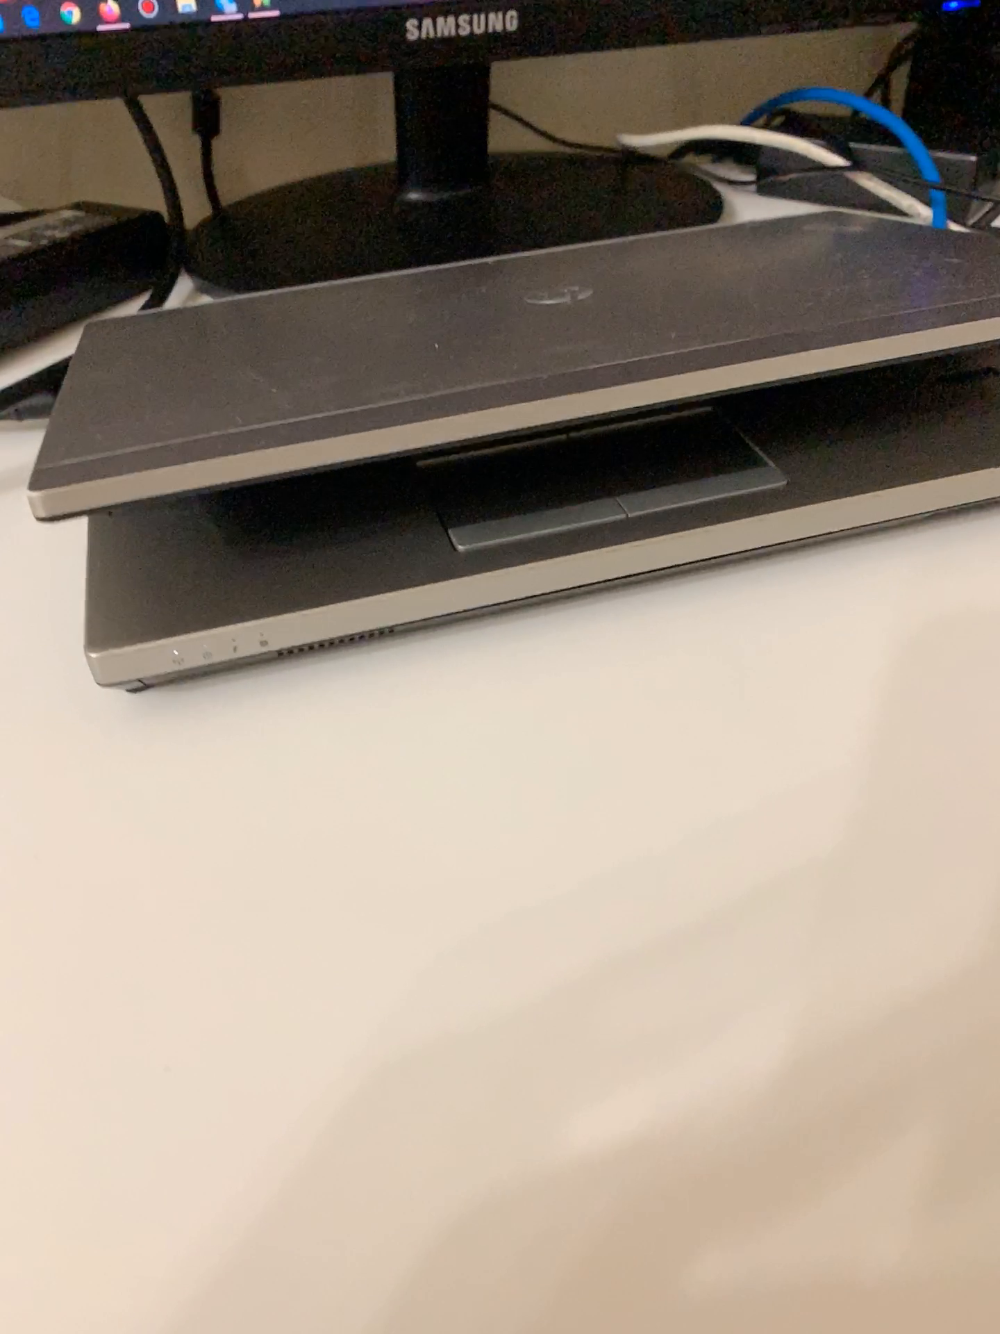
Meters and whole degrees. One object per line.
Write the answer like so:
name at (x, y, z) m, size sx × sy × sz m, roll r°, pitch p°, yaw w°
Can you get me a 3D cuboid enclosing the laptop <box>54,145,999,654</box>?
laptop at (0.020, -0.104, 0.323) m, size 0.292 × 0.029 × 0.184 m, roll -13°, pitch 43°, yaw -10°
